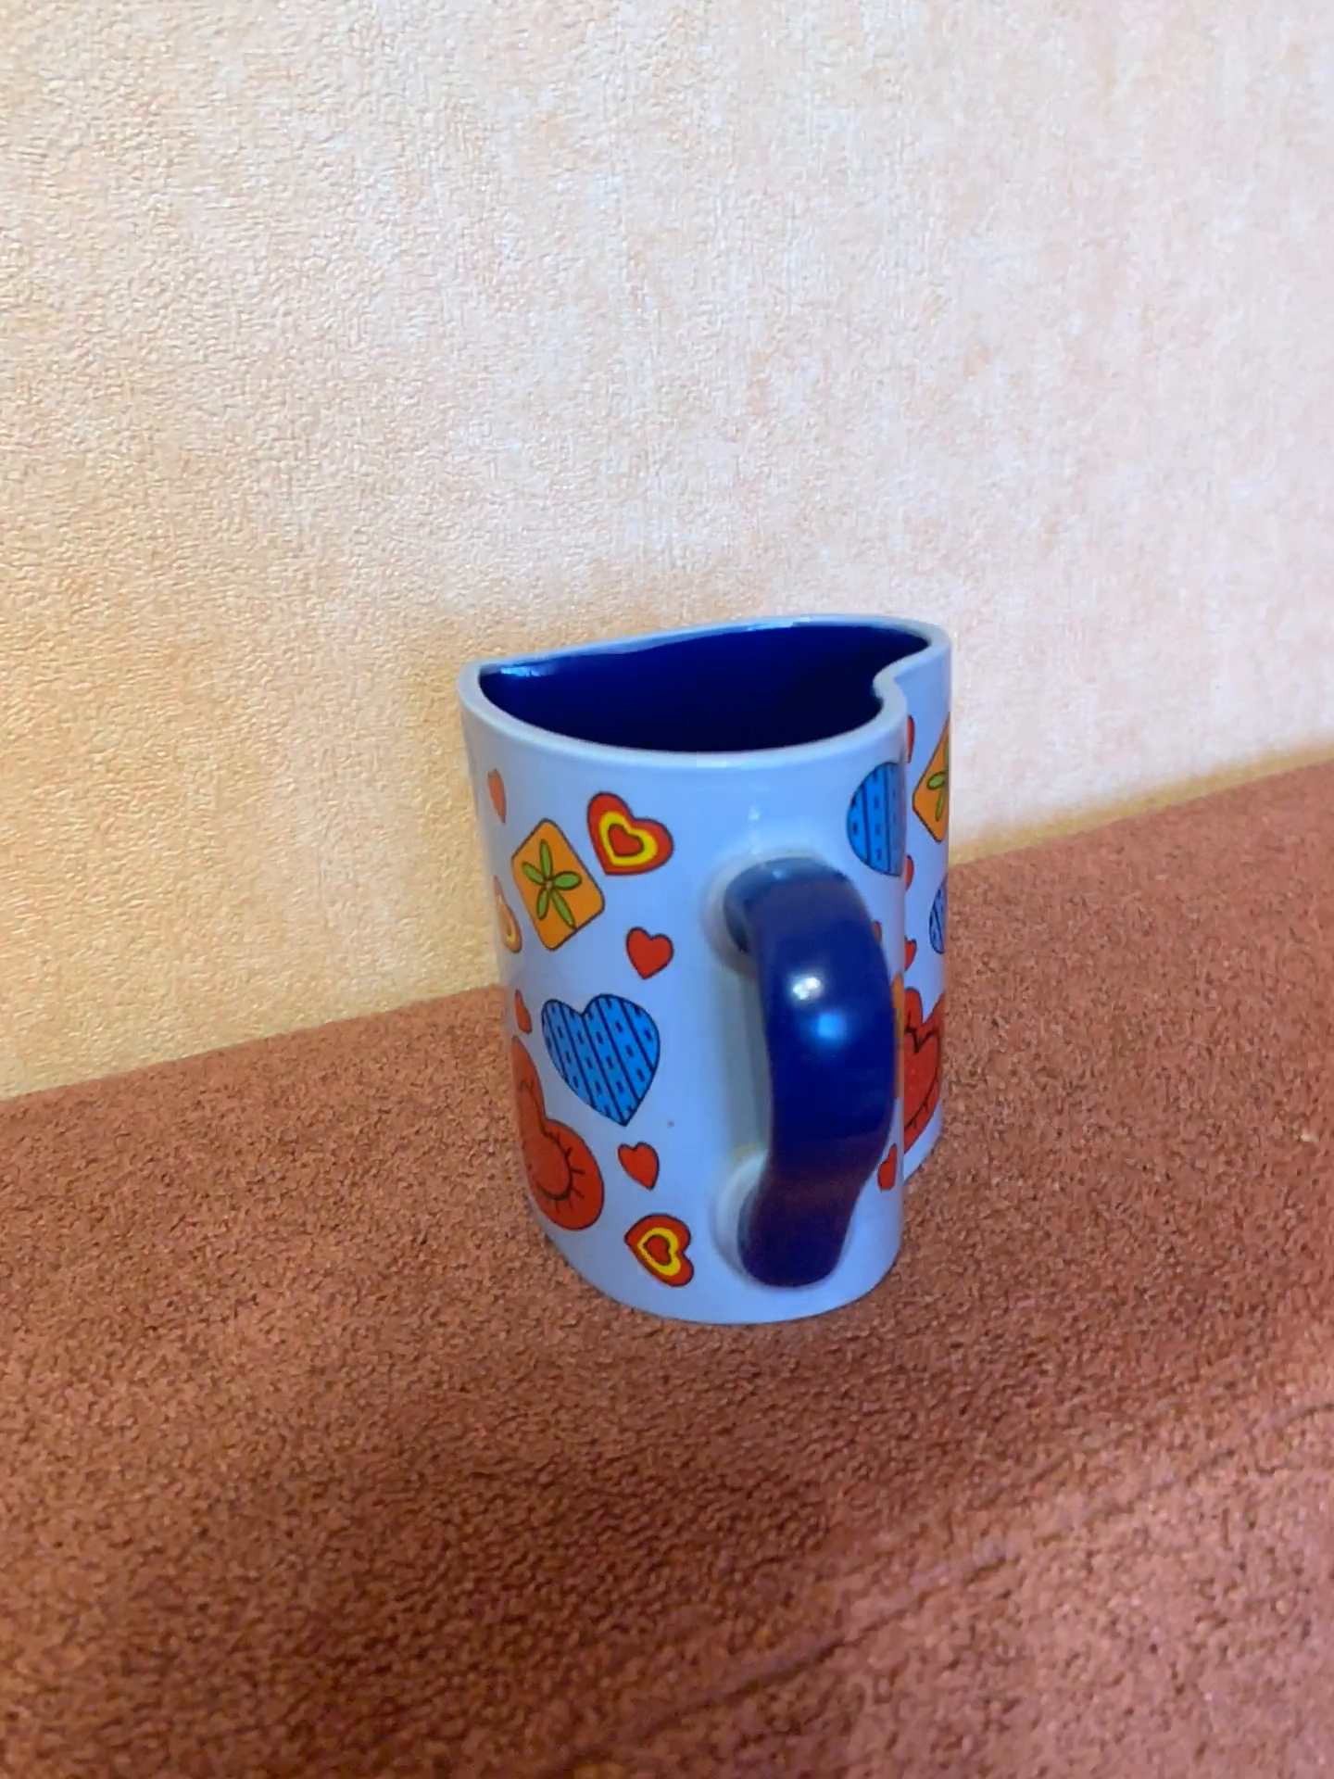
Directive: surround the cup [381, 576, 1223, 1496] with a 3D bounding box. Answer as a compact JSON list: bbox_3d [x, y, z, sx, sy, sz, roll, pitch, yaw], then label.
[{"bbox_3d":[0.013,0.011,0.215,0.088,0.090,0.098,-11,25,-15],"label":"cup"}]
